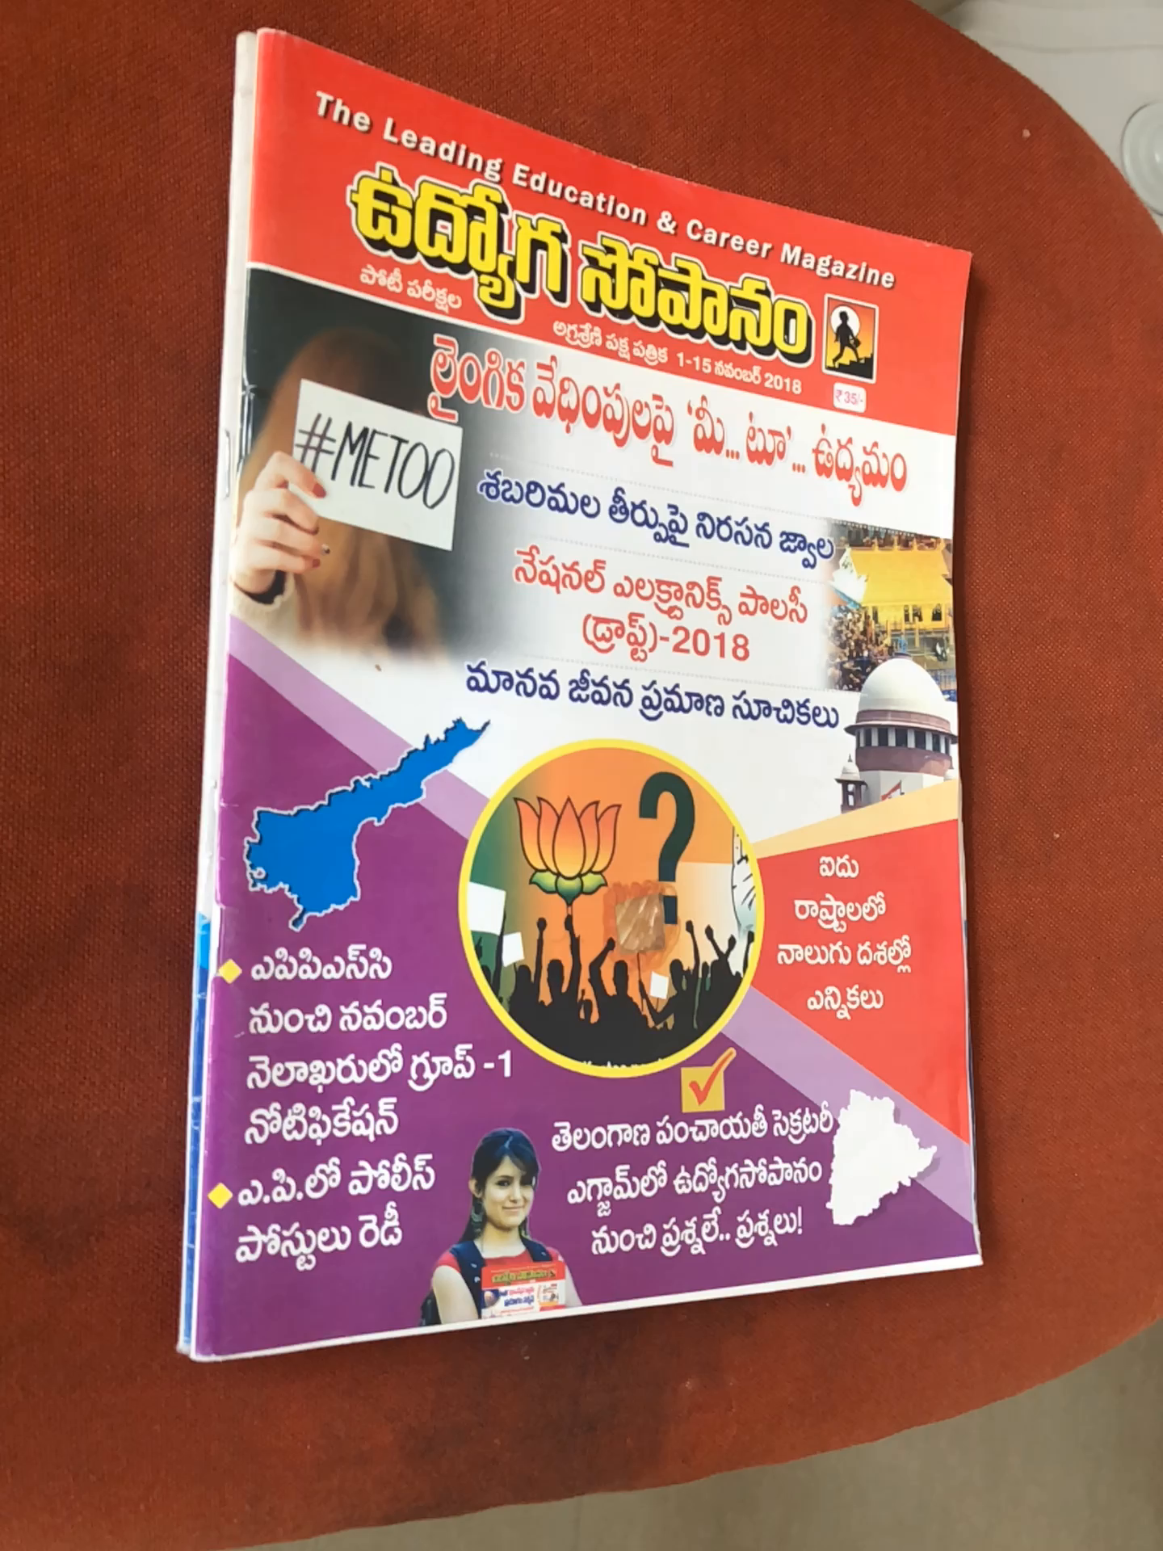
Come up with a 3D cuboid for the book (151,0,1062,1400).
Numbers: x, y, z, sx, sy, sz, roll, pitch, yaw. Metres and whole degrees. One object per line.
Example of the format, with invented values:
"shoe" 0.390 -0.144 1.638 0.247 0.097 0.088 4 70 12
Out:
"book" 0.019 -0.019 0.321 0.218 0.040 0.294 5 82 -23
